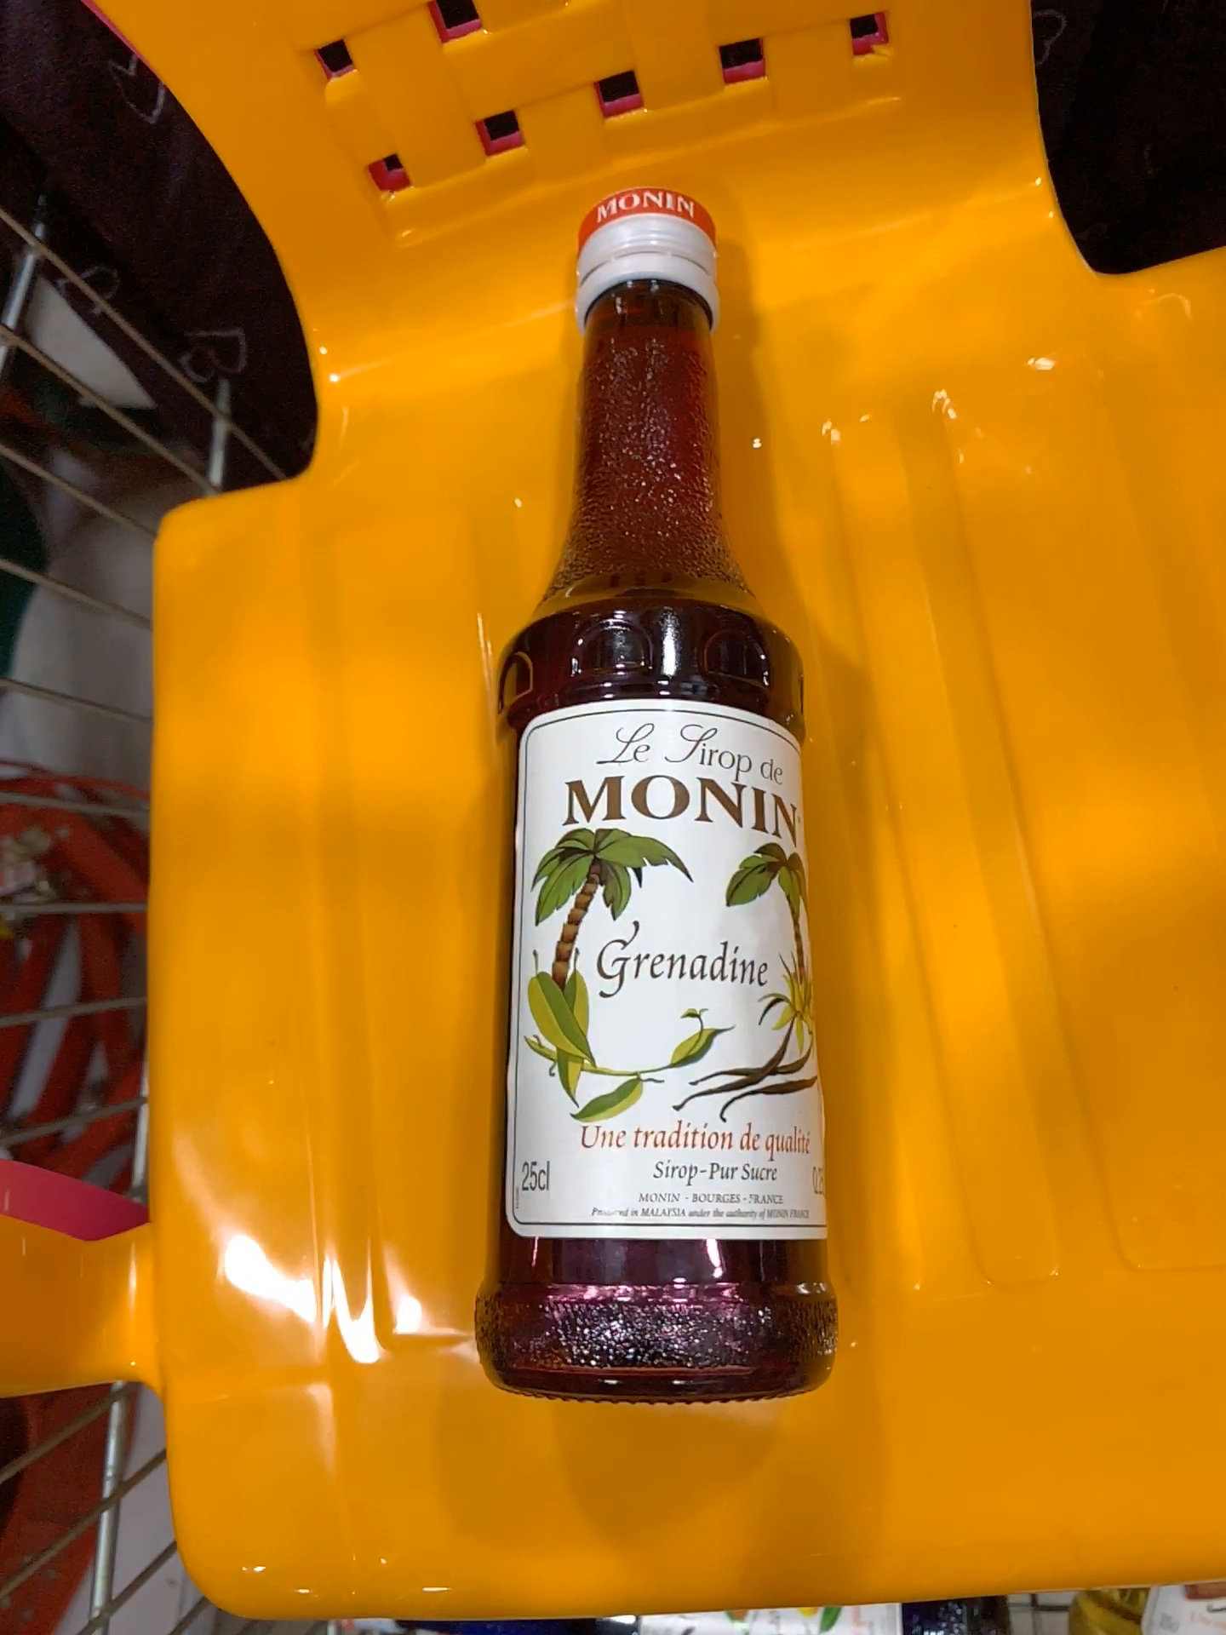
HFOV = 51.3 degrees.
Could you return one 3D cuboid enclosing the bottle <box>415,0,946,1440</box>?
[{"bbox_3d":[0.007,-0.030,0.219,0.060,0.050,0.240,7,70,-19],"label":"bottle"}]
